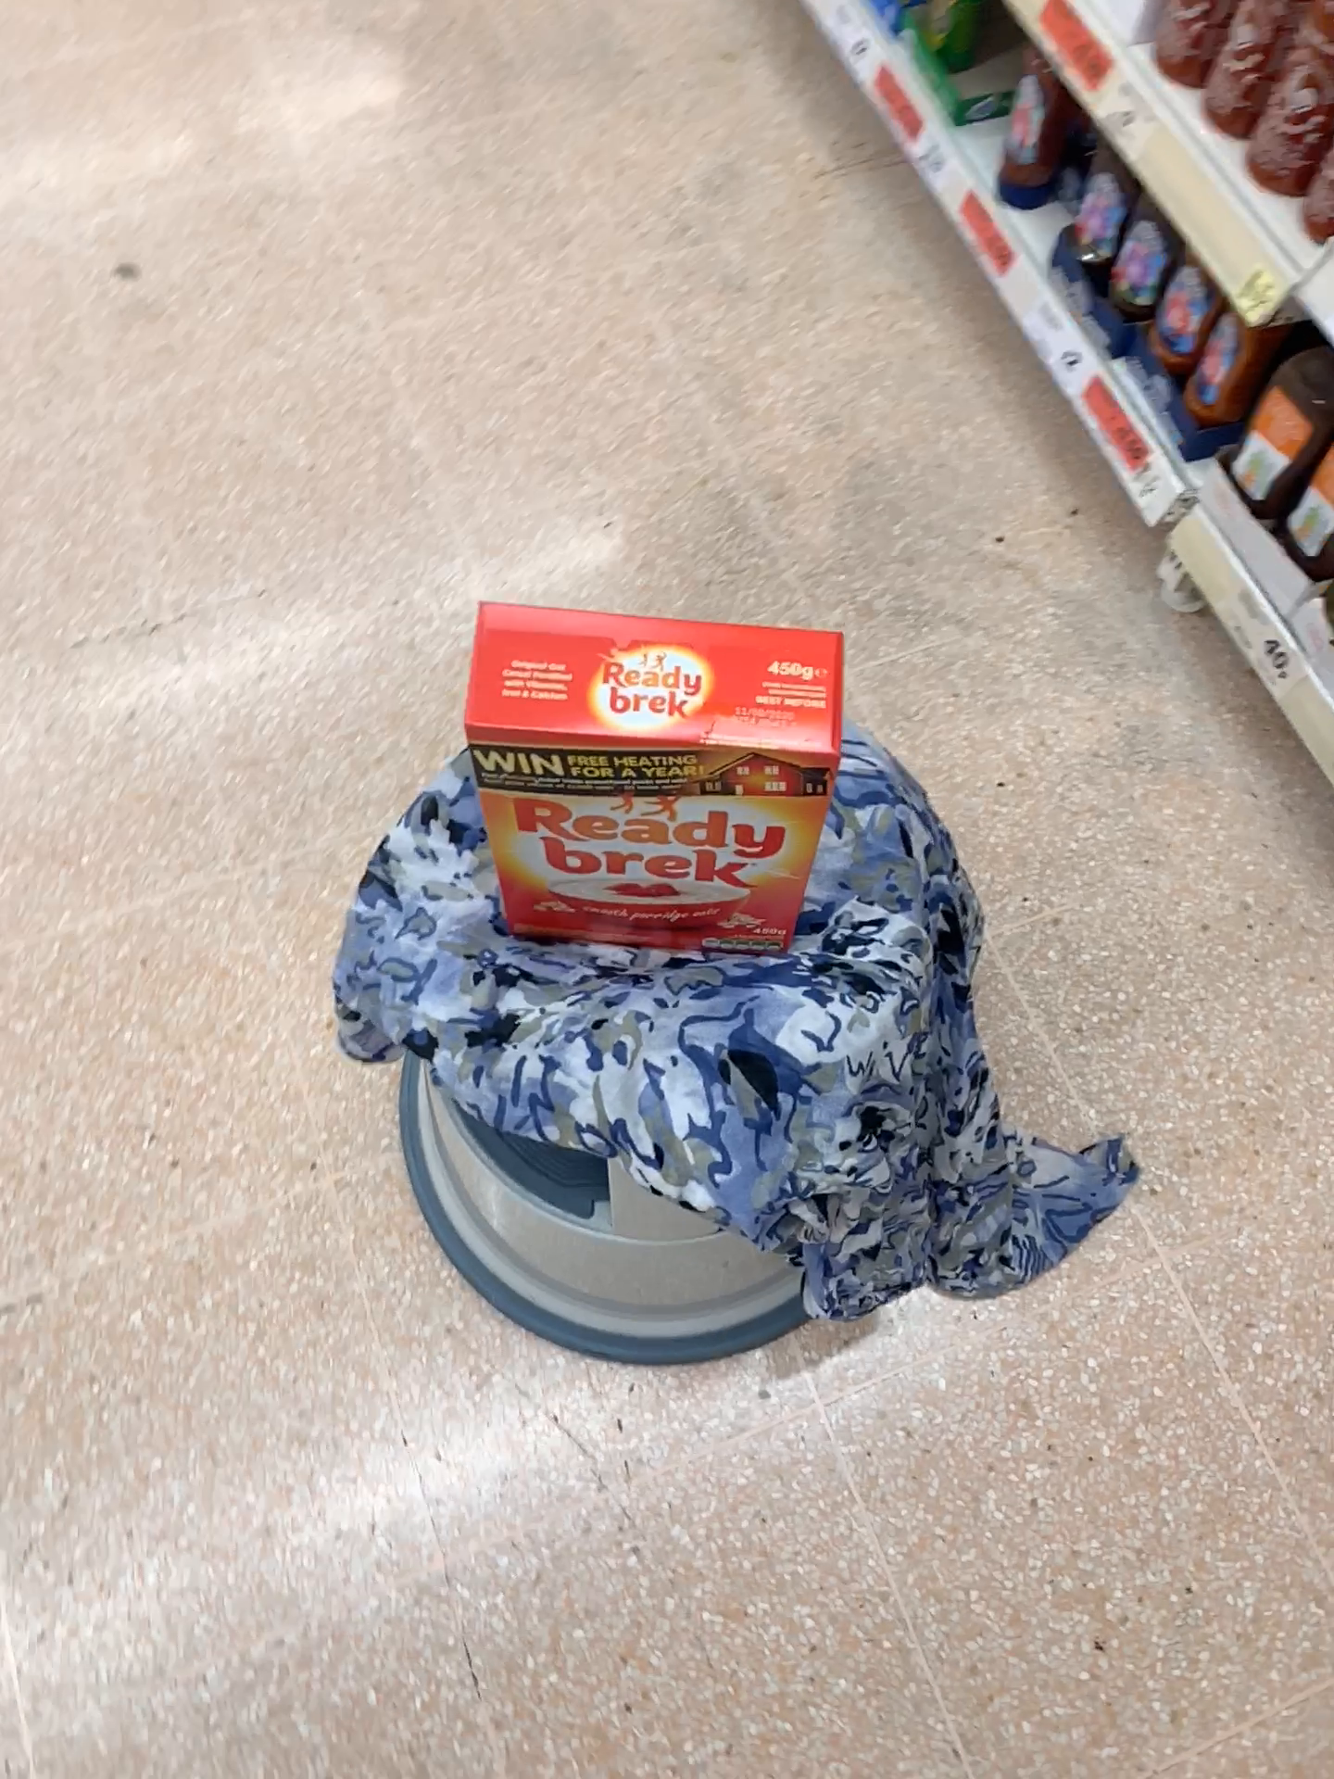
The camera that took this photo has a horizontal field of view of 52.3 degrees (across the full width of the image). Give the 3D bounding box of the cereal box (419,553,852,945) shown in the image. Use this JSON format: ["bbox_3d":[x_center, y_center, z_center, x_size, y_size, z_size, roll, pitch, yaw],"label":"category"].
[{"bbox_3d":[-0.013,-0.055,0.660,0.170,0.239,0.060,6,65,2],"label":"cereal box"}]
